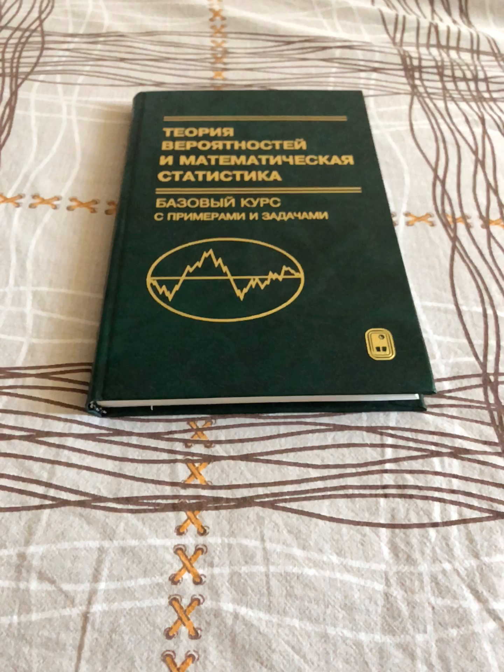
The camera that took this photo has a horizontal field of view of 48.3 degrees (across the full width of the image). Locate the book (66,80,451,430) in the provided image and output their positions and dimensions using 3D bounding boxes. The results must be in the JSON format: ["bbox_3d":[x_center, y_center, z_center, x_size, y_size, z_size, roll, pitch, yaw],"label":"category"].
[{"bbox_3d":[0.000,-0.058,0.293,0.150,0.030,0.218,-1,55,-2],"label":"book"}]
